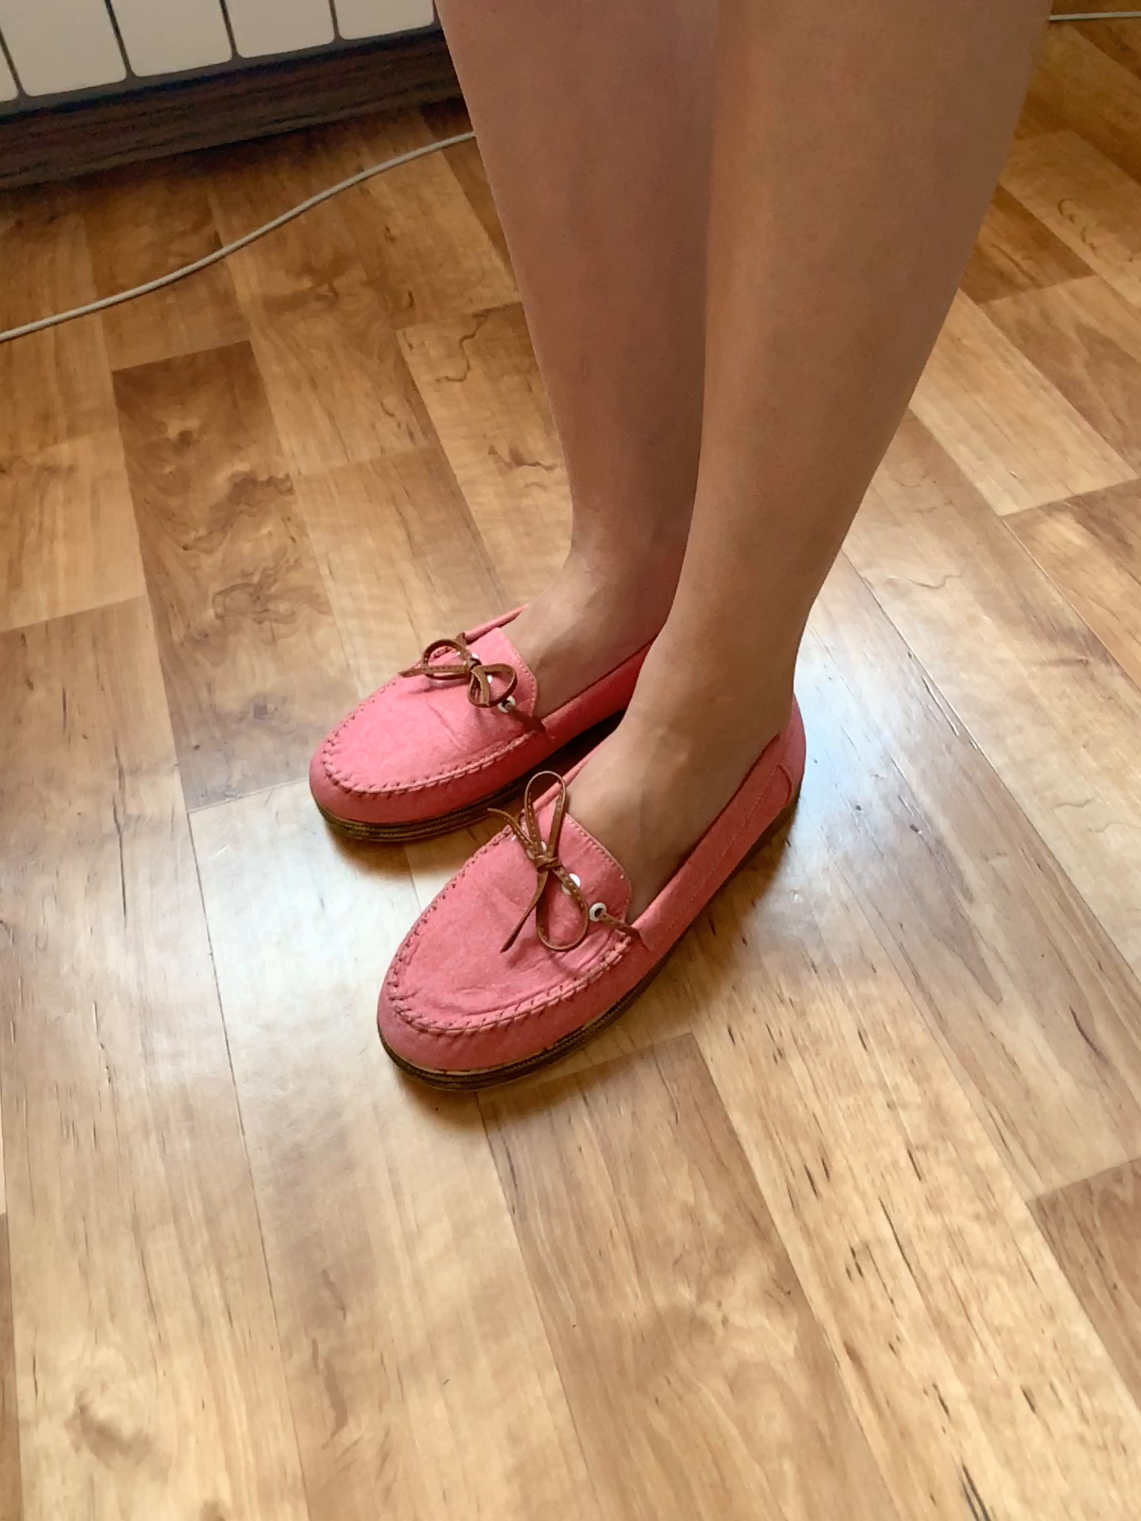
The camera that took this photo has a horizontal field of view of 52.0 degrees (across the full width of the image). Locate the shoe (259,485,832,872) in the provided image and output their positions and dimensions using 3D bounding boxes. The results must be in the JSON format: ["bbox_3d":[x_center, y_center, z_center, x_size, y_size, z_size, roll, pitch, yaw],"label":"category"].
[{"bbox_3d":[-0.011,-0.047,0.592,0.260,0.060,0.100,-21,55,-13],"label":"shoe"}]

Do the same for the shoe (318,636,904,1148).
[{"bbox_3d":[0.024,0.050,0.525,0.250,0.060,0.090,-33,59,-20],"label":"shoe"}]
